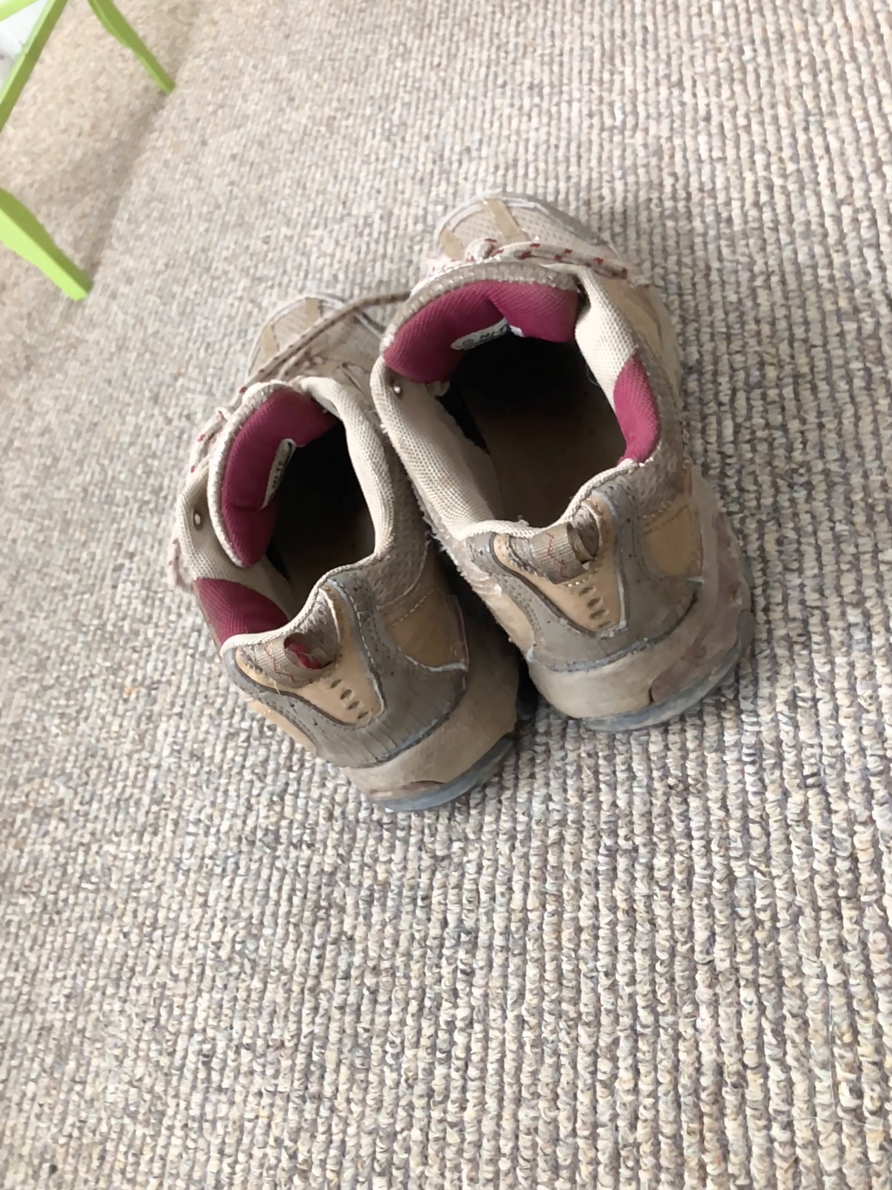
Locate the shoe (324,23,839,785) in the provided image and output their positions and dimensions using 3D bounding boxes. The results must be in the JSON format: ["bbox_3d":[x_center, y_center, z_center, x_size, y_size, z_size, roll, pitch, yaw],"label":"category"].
[{"bbox_3d":[0.041,-0.085,0.400,0.111,0.123,0.273,-23,51,16],"label":"shoe"}]

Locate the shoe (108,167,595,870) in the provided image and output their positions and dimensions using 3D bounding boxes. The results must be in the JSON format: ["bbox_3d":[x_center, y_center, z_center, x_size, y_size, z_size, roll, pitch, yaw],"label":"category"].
[{"bbox_3d":[-0.054,-0.044,0.427,0.110,0.118,0.272,-30,49,11],"label":"shoe"}]
